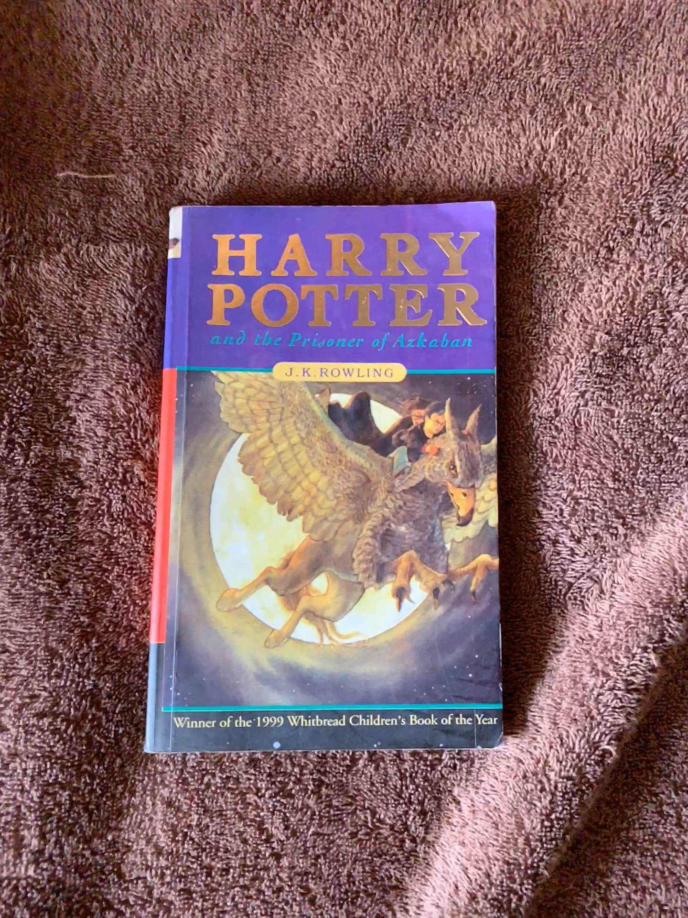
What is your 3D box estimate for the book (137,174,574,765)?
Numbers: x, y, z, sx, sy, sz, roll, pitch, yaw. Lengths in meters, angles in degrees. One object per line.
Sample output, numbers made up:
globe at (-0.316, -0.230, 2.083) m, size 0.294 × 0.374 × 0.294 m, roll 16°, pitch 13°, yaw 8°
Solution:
book at (0.002, 0.001, 0.229) m, size 0.130 × 0.020 × 0.180 m, roll -1°, pitch 85°, yaw -1°
